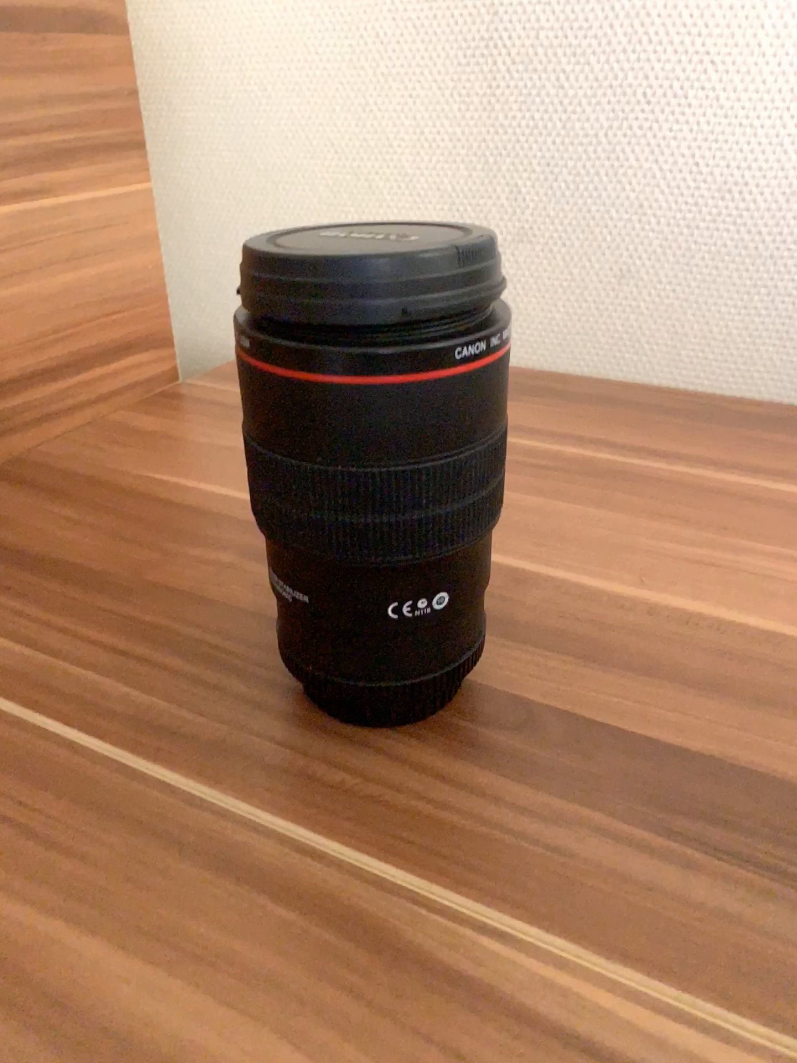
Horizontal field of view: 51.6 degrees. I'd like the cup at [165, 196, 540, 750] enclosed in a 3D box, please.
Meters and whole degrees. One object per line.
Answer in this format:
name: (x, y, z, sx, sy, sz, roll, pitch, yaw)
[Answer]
cup: (-0.005, -0.018, 0.241, 0.080, 0.139, 0.070, 5, 29, 10)
